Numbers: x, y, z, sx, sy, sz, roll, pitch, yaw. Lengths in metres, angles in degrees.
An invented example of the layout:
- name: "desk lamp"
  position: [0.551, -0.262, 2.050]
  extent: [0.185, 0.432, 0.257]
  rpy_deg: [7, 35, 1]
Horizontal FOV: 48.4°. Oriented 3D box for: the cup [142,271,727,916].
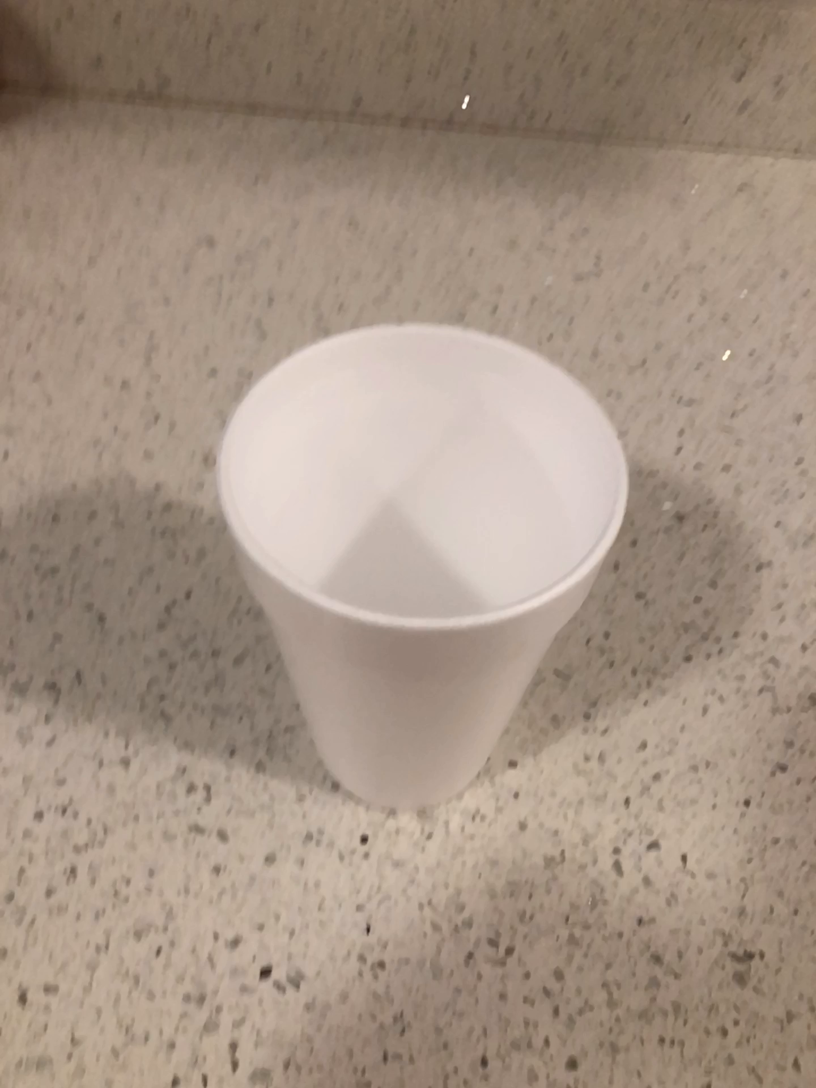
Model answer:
- name: "cup"
  position: [0.002, 0.016, 0.239]
  extent: [0.088, 0.118, 0.090]
  rpy_deg: [1, 52, -1]
